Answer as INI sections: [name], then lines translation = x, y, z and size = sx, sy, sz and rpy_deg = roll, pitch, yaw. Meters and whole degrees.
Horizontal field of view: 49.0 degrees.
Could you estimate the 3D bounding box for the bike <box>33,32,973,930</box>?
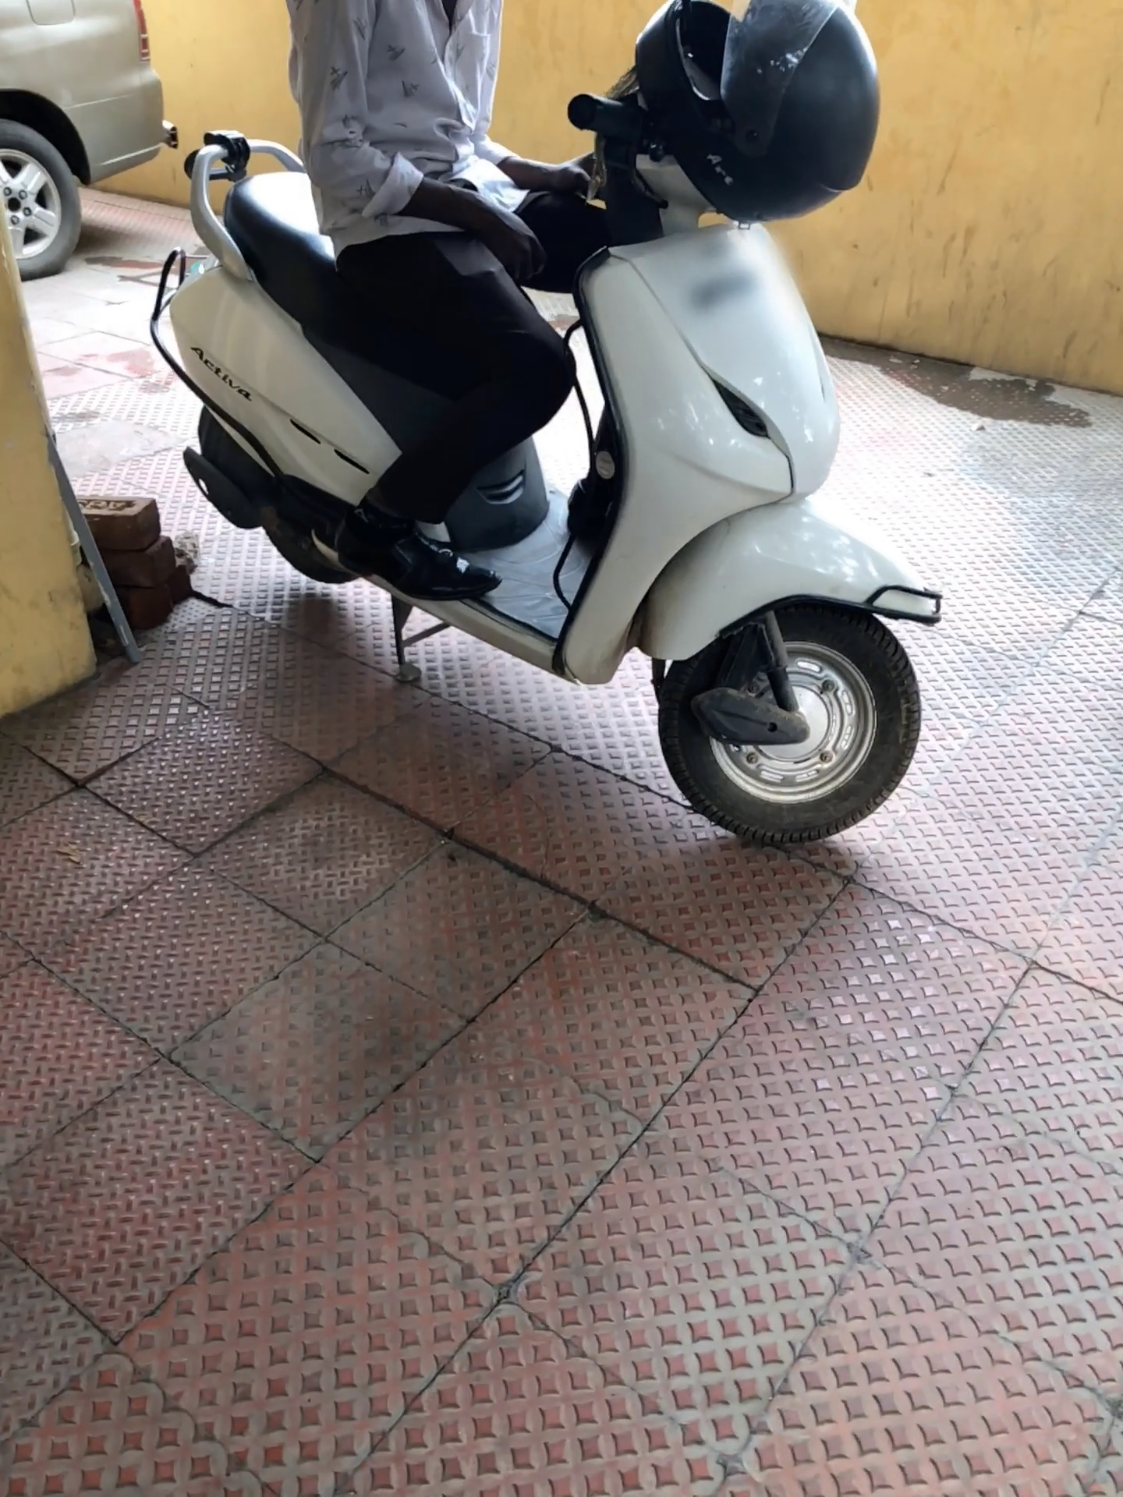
[bike]
translation = -0.142, -0.578, 2.266
size = 1.389, 1.107, 0.661
rpy_deg = 25, 40, 28
